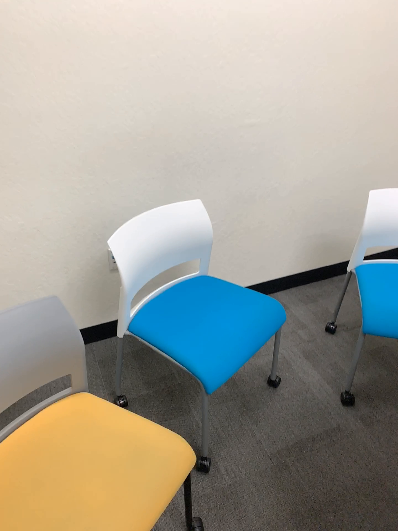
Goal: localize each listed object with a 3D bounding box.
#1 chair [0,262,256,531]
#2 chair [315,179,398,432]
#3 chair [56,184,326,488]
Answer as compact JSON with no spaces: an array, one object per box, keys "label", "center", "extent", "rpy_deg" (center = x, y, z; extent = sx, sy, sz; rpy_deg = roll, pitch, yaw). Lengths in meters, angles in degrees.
[{"label":"chair","center":[-0.329,0.536,1.062],"extent":[0.692,0.716,0.642],"rpy_deg":[19,37,28]},{"label":"chair","center":[0.972,0.131,1.773],"extent":[0.750,0.765,0.694],"rpy_deg":[5,32,9]},{"label":"chair","center":[-0.023,0.204,1.614],"extent":[0.693,0.755,0.642],"rpy_deg":[25,40,35]}]
